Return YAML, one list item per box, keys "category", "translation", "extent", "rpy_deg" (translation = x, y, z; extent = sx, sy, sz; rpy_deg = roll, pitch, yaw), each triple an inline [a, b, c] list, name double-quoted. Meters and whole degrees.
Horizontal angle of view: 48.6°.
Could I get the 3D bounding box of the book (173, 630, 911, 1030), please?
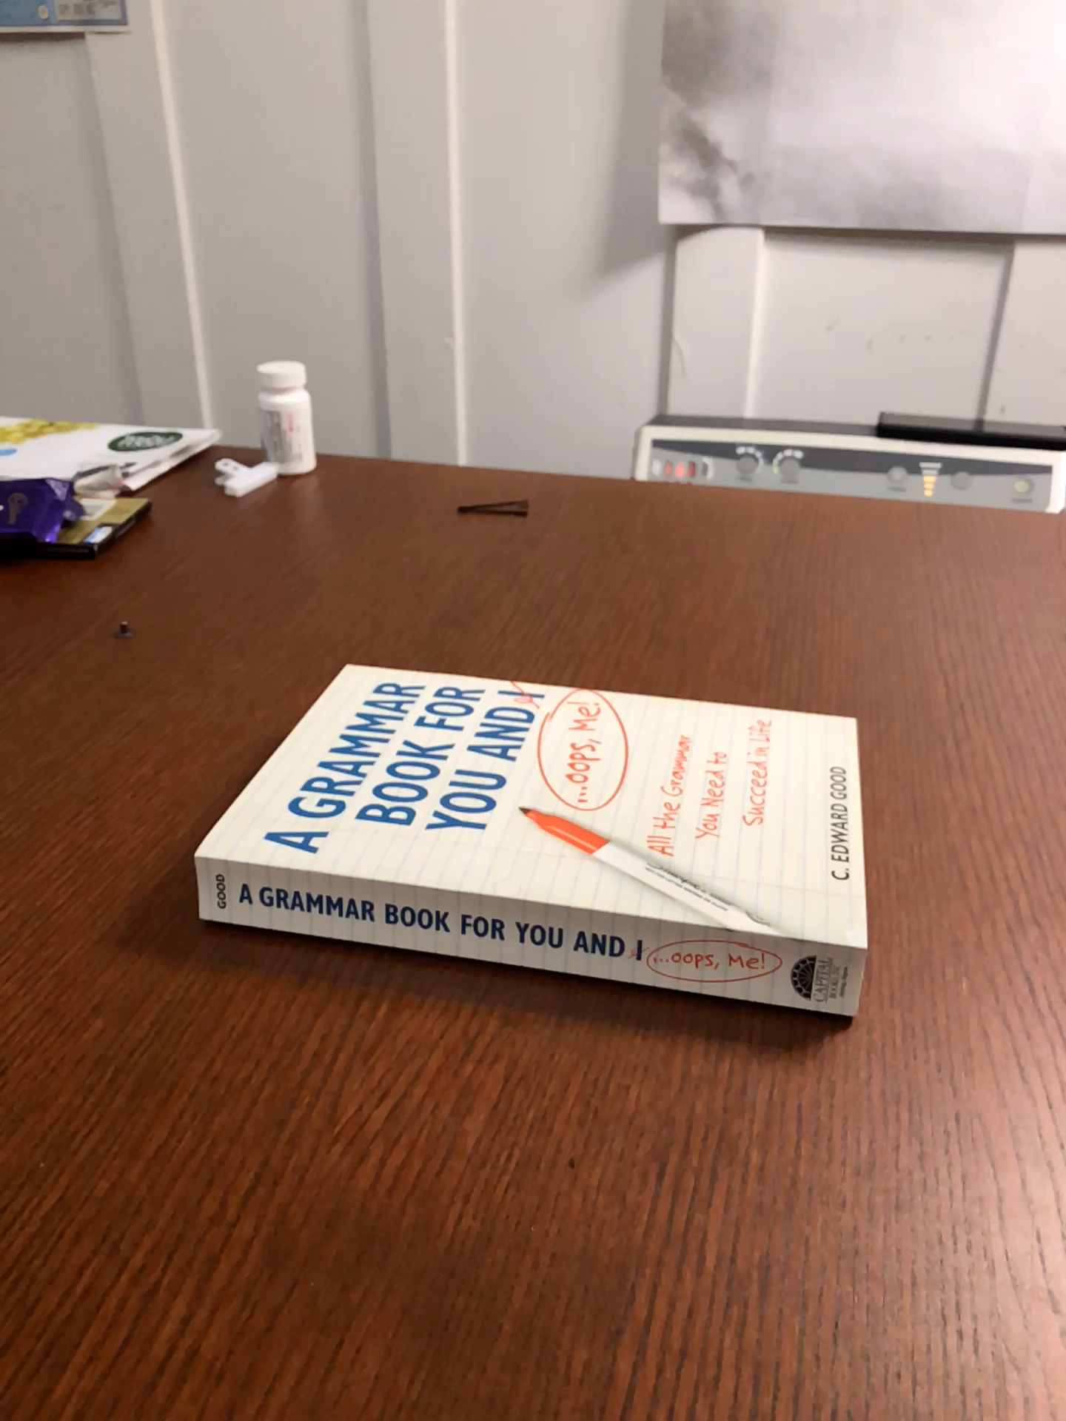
- category: "book"
  translation: [0.013, 0.032, 0.460]
  extent: [0.240, 0.040, 0.171]
  rpy_deg: [6, 28, 10]
